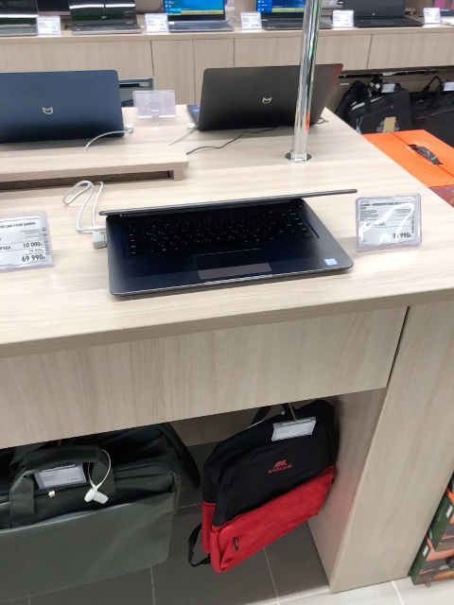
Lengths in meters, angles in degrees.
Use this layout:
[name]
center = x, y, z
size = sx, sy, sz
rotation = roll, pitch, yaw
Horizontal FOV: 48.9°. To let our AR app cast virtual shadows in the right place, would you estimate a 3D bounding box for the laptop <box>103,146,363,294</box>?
[laptop]
center = -0.005, -0.140, 0.767
size = 0.344, 0.099, 0.222
rotation = -7, 38, -11
